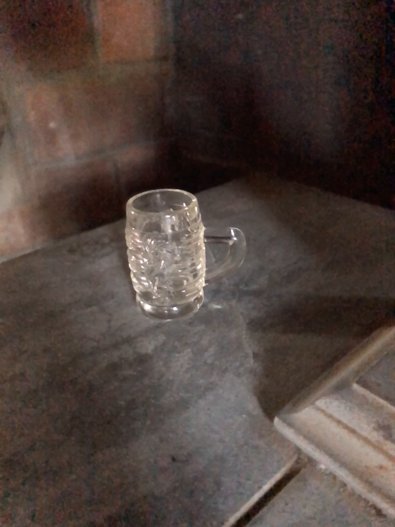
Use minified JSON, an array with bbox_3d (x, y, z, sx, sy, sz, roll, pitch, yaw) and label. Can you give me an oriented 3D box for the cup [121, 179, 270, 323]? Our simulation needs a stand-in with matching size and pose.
[{"bbox_3d":[0.000,-0.007,0.207,0.060,0.050,0.040,-5,28,-2],"label":"cup"}]
